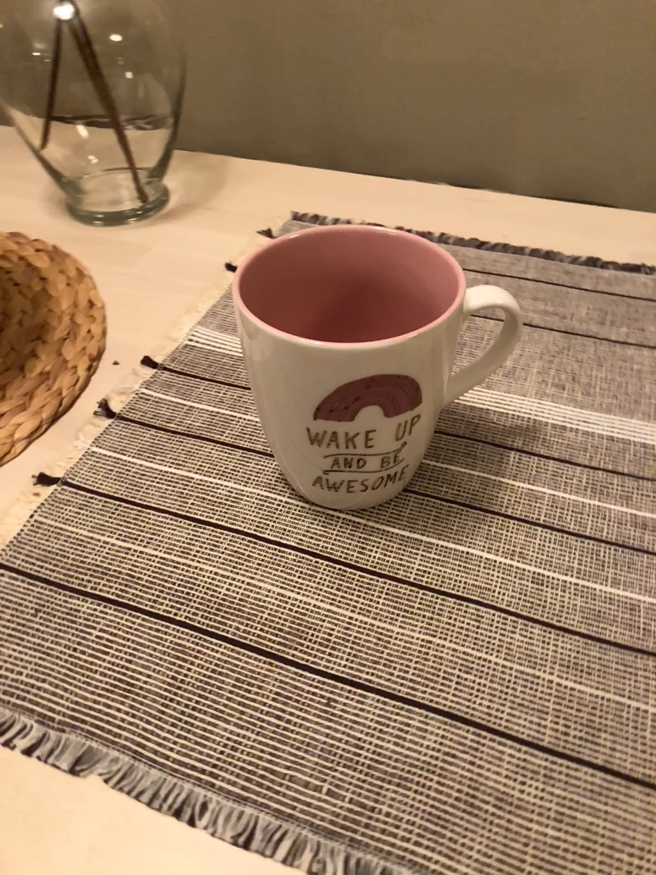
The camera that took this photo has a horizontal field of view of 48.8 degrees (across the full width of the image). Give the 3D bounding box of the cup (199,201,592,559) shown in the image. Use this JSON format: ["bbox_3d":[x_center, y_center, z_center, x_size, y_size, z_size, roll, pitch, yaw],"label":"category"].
[{"bbox_3d":[0.026,-0.035,0.391,0.160,0.119,0.121,-11,43,-10],"label":"cup"}]
